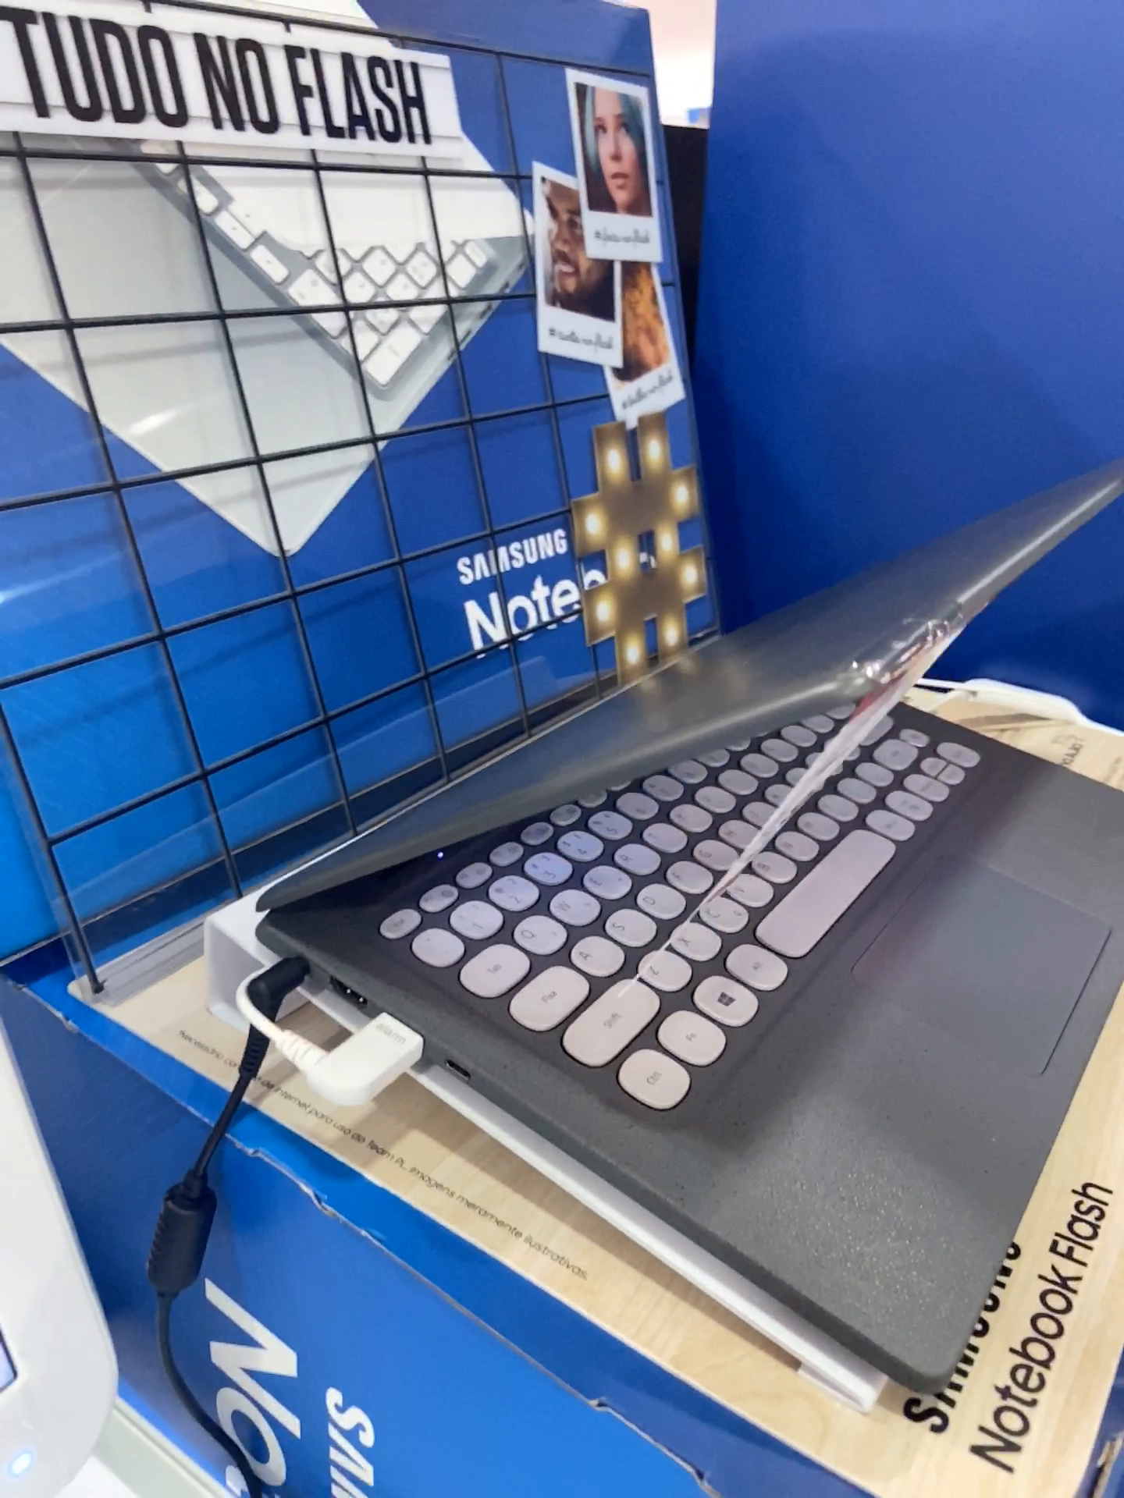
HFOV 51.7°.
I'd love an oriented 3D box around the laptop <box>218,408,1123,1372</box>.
[{"bbox_3d":[0.089,-0.012,0.398,0.211,0.114,0.324,25,32,27],"label":"laptop"}]
